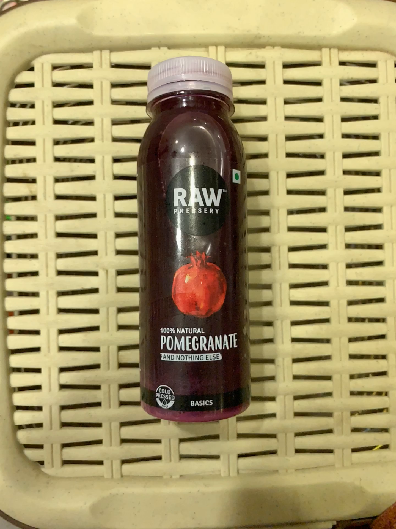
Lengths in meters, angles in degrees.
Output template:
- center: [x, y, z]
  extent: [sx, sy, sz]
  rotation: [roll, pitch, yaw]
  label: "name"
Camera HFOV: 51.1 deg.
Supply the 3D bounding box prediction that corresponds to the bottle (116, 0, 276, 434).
- center: [-0.002, -0.018, 0.180]
  extent: [0.060, 0.050, 0.160]
  rotation: [0, 90, -5]
  label: "bottle"
